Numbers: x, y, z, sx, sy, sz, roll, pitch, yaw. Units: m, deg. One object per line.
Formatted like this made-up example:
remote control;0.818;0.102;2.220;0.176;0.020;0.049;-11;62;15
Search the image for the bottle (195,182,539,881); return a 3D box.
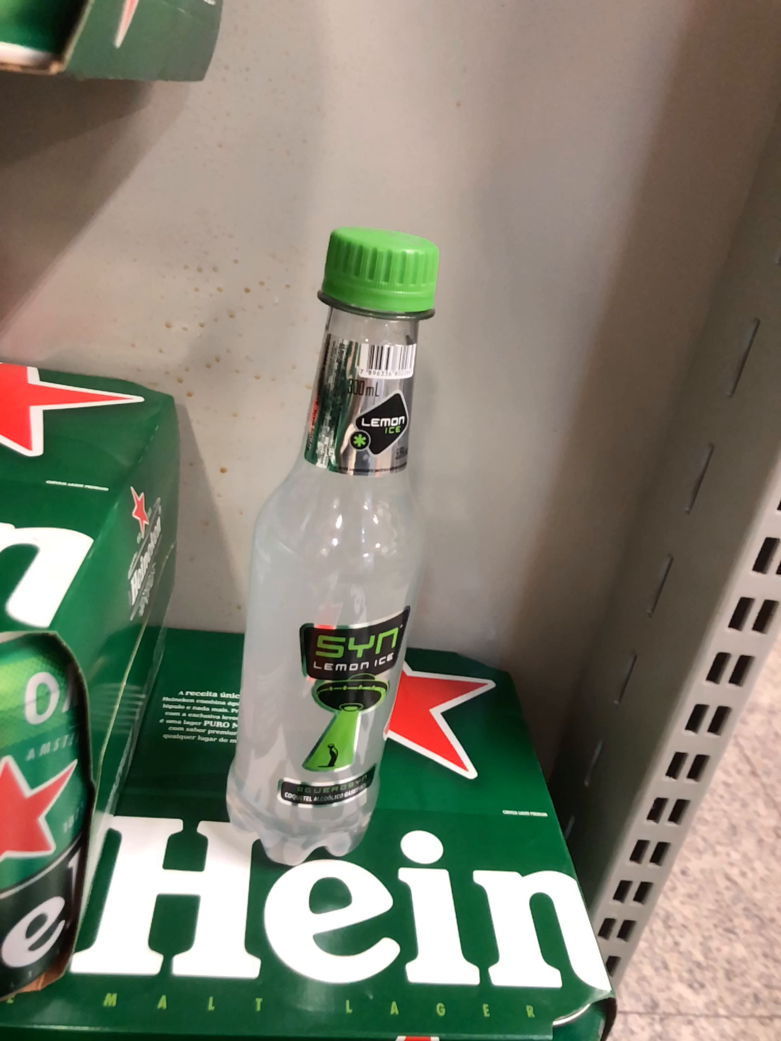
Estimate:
bottle;-0.019;0.011;0.276;0.060;0.209;0.060;9;25;-4
